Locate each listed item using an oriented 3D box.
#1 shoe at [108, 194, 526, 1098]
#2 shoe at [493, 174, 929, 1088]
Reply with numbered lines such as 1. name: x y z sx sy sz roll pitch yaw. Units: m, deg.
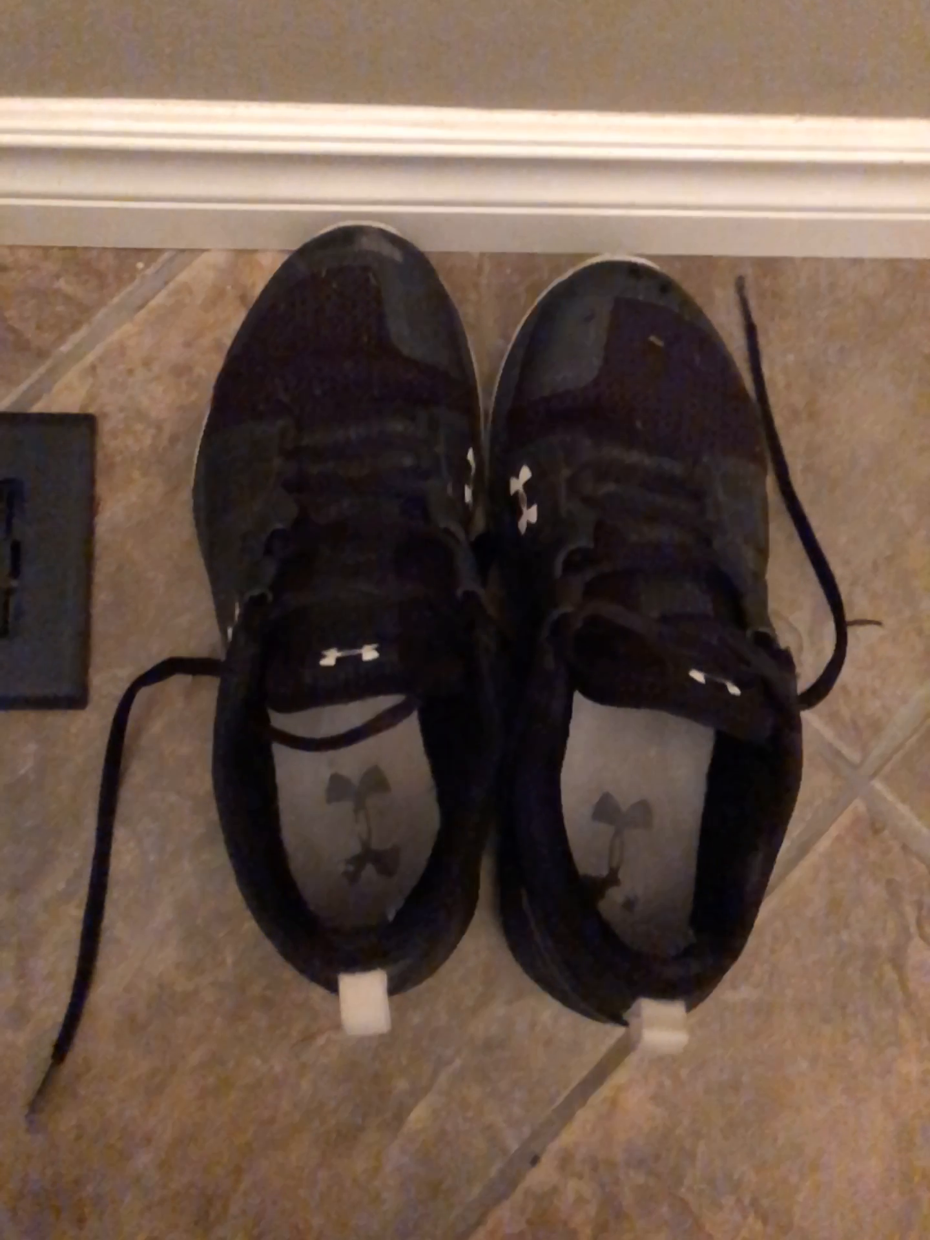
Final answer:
1. shoe: -0.041 0.007 0.335 0.110 0.100 0.250 1 83 -4
2. shoe: 0.069 0.003 0.331 0.110 0.100 0.250 1 83 -4
